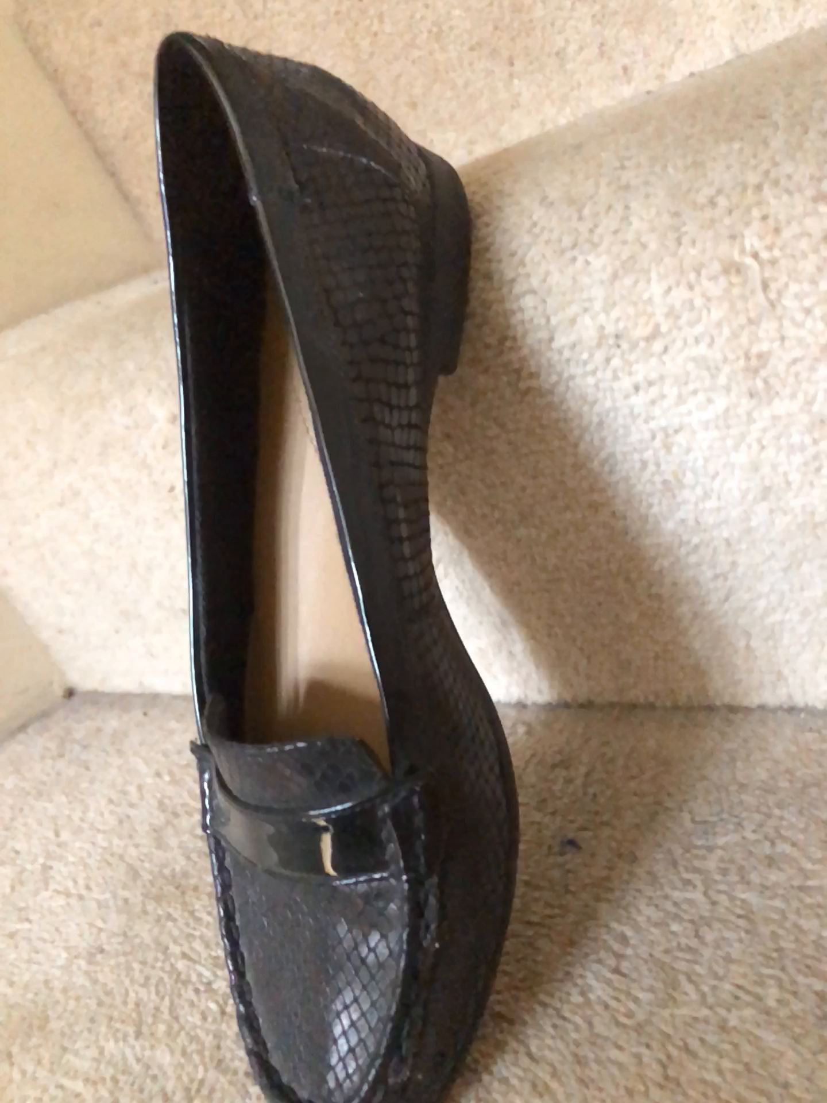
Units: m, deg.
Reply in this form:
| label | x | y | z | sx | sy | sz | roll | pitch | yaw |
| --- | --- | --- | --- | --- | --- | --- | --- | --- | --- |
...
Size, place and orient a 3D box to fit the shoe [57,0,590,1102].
| label | x | y | z | sx | sy | sz | roll | pitch | yaw |
| --- | --- | --- | --- | --- | --- | --- | --- | --- | --- |
| shoe | -0.022 | 0.007 | 0.234 | 0.090 | 0.260 | 0.070 | -5 | -1 | 32 |
